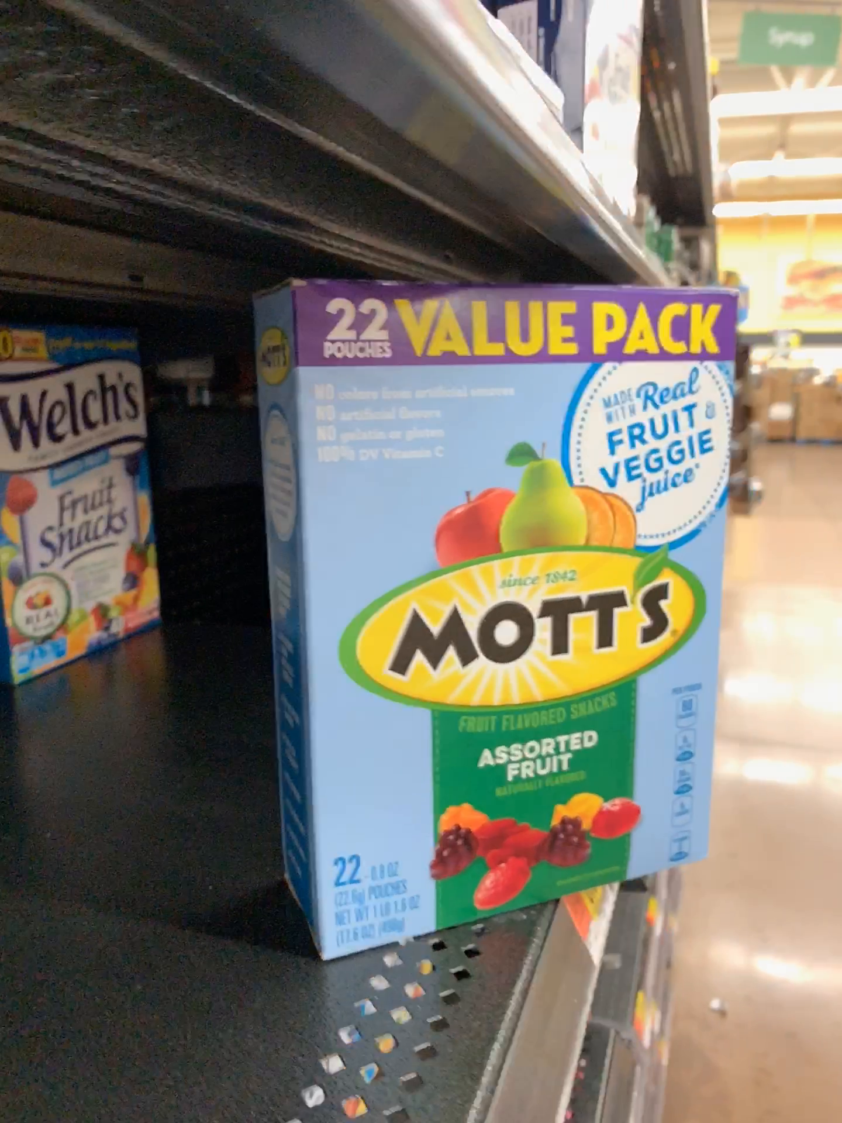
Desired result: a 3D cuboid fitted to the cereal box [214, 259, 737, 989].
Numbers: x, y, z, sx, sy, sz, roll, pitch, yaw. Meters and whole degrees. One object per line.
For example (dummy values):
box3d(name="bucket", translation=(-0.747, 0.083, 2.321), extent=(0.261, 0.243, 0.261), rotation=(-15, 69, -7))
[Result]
box3d(name="cereal box", translation=(0.023, 0.016, 0.340), extent=(0.180, 0.239, 0.060), rotation=(-5, 12, -22))
